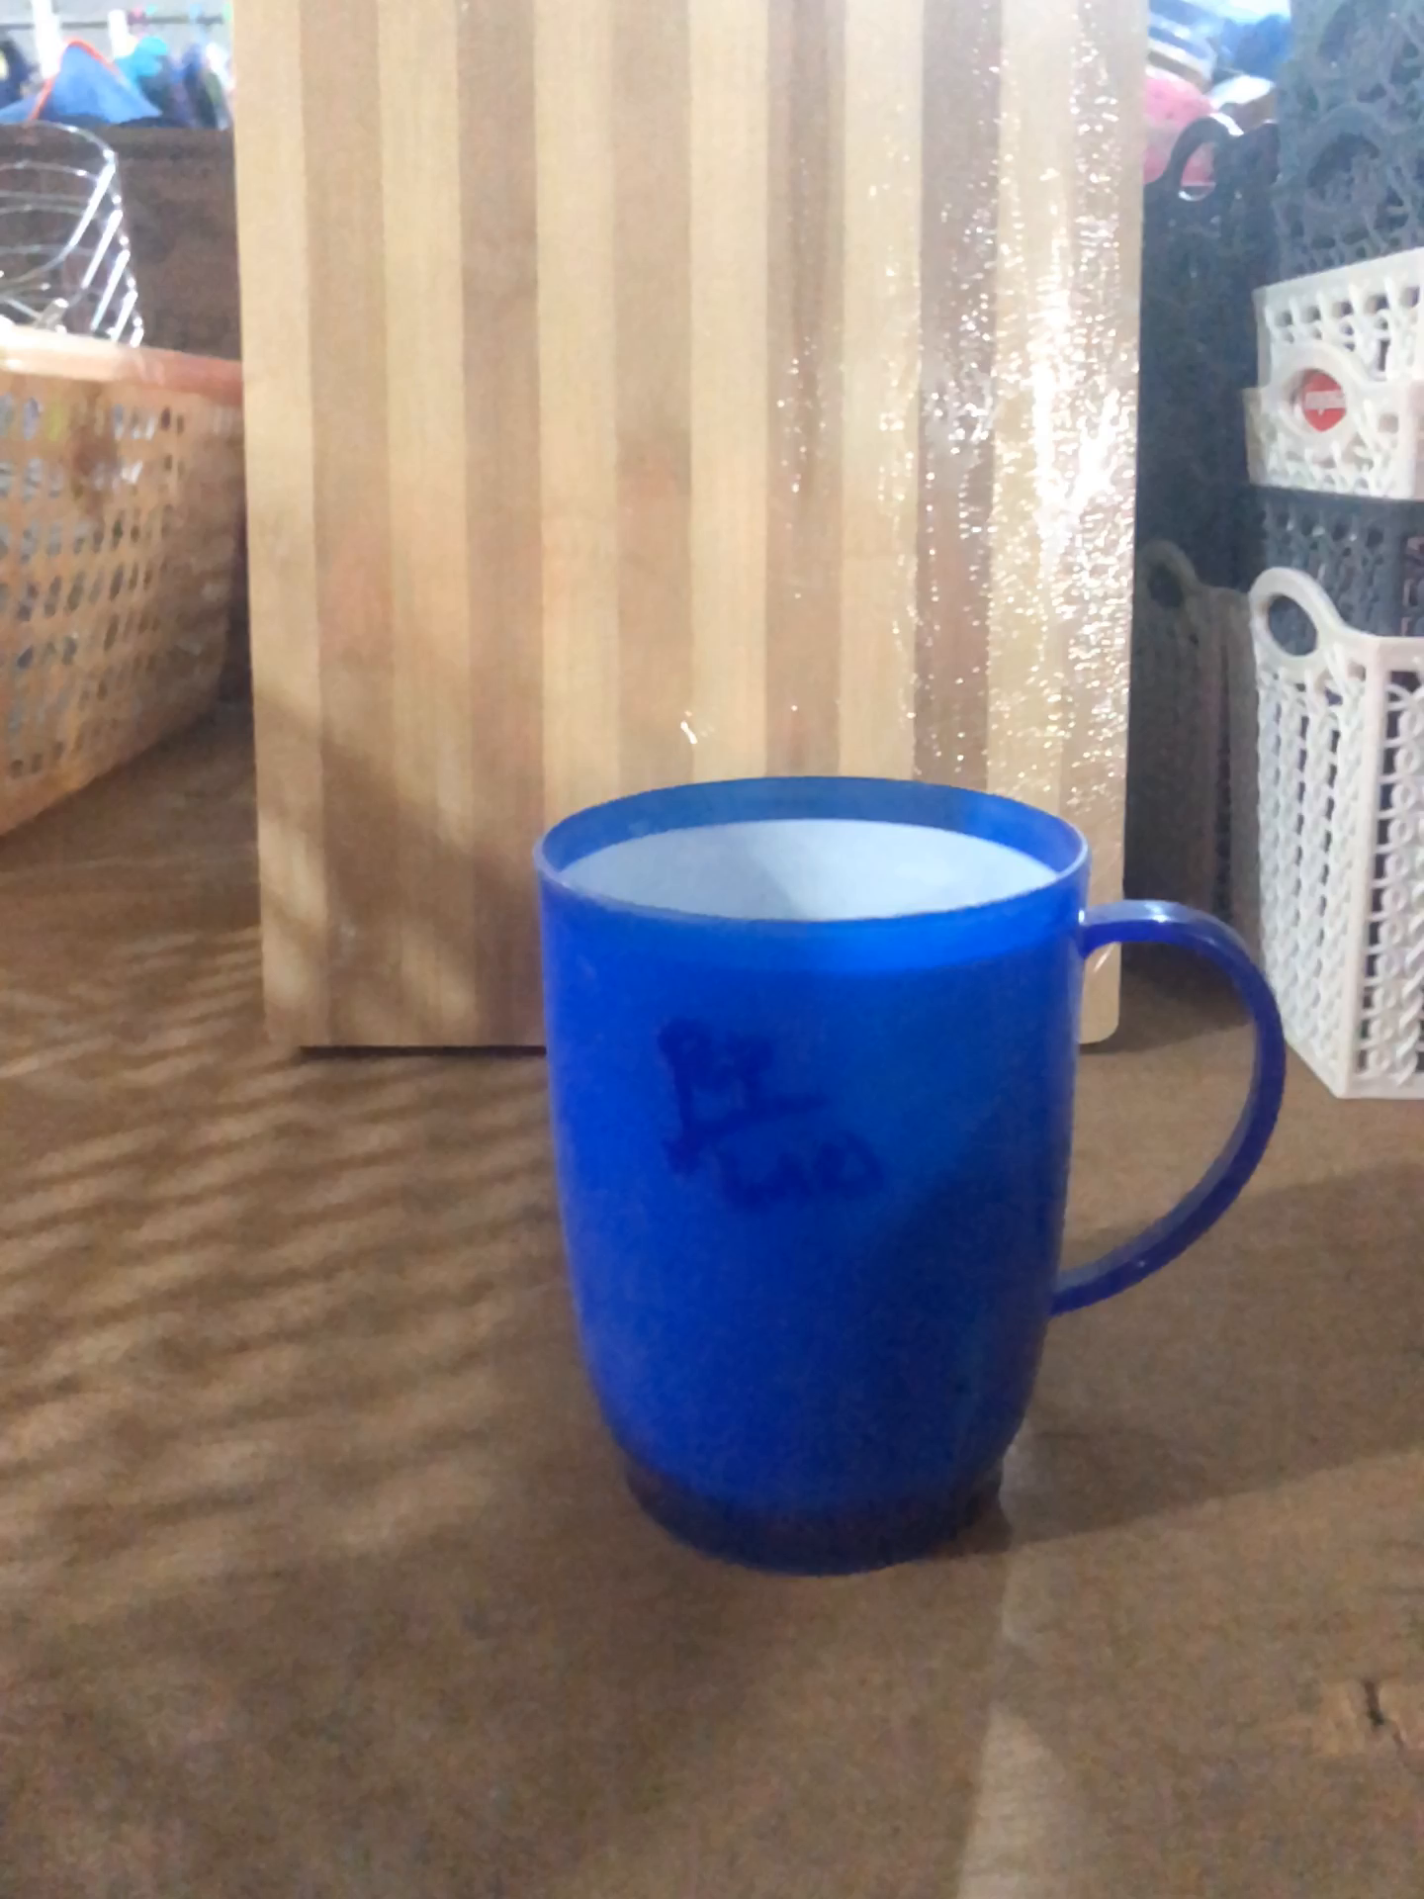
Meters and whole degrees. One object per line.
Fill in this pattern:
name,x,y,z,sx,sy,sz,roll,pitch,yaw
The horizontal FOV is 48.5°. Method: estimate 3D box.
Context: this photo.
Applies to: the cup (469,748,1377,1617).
cup,0.029,0.031,0.244,0.110,0.110,0.070,0,19,4
